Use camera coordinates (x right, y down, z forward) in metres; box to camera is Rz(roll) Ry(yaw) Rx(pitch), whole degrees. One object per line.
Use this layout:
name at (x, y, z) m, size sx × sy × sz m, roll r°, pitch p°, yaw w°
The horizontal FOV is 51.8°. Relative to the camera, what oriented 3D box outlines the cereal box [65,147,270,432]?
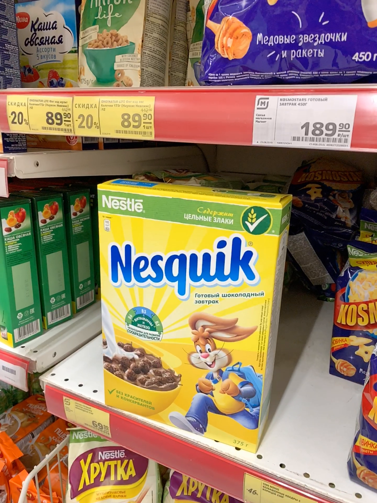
cereal box at (-0.025, 0.033, 0.414) m, size 0.190 × 0.268 × 0.060 m, roll 9°, pitch 19°, yaw 21°
